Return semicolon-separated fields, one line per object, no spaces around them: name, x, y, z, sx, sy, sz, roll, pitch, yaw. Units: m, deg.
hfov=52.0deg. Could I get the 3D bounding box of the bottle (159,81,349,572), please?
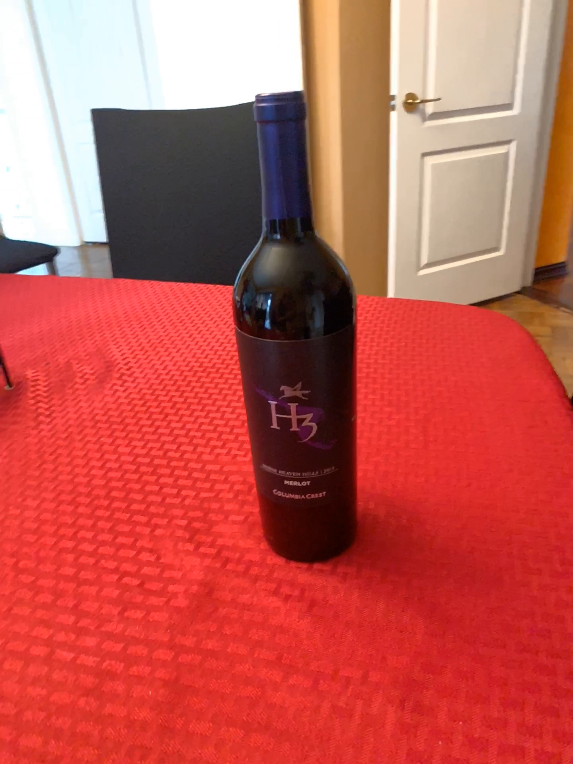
bottle;-0.004;-0.021;0.364;0.080;0.288;0.080;-3;27;2
